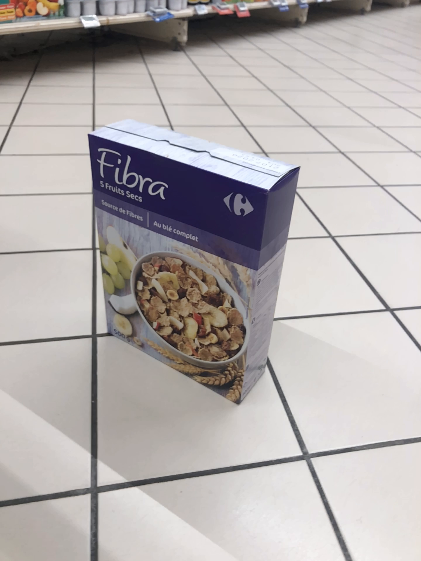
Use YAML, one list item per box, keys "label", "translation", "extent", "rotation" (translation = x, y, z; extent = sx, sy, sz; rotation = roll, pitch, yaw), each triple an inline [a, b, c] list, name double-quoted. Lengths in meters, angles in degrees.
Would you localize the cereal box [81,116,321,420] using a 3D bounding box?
- label: "cereal box"
  translation: [-0.021, -0.013, 0.497]
  extent: [0.210, 0.258, 0.081]
  rotation: [23, 39, 25]
